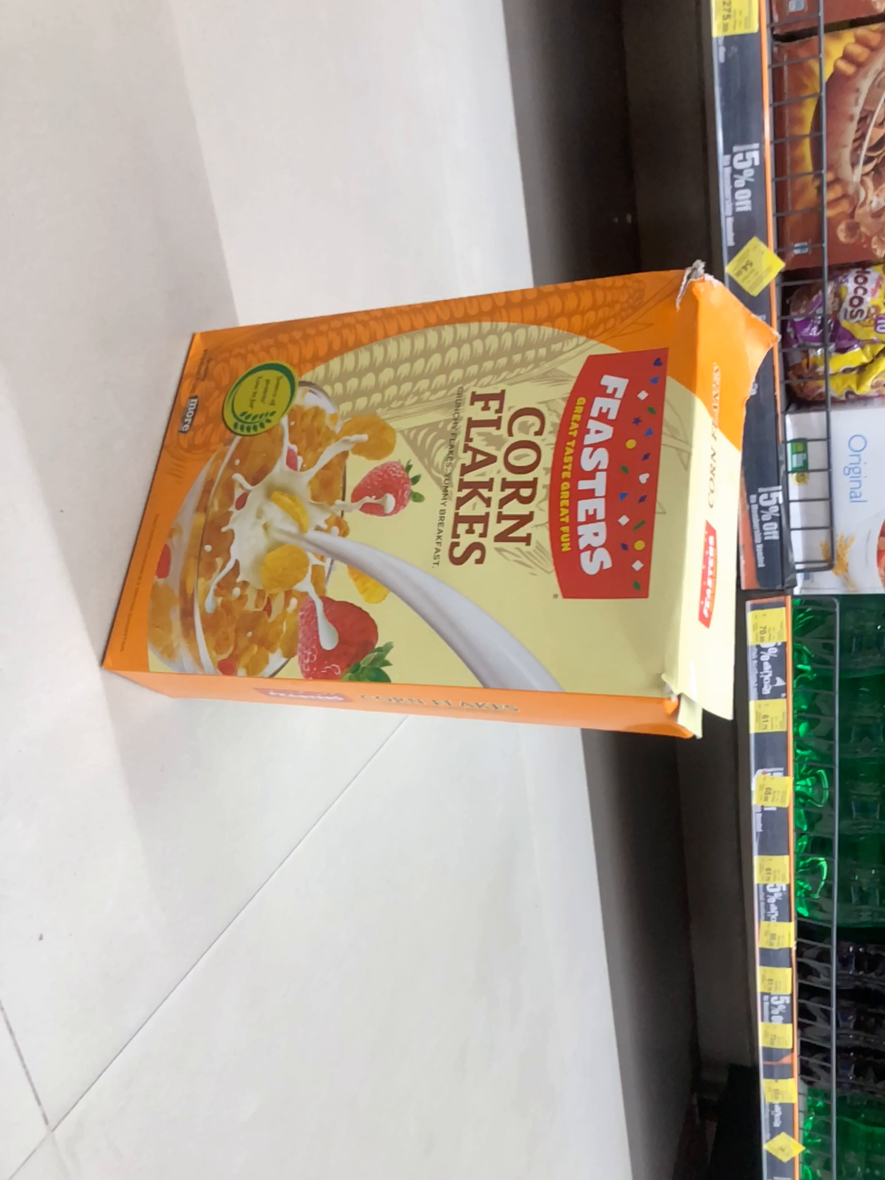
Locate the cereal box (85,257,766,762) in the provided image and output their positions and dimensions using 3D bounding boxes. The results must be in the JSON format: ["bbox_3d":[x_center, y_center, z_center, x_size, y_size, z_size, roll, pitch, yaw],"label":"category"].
[{"bbox_3d":[-0.003,-0.034,0.428,0.060,0.268,0.190,50,44,-59],"label":"cereal box"}]
